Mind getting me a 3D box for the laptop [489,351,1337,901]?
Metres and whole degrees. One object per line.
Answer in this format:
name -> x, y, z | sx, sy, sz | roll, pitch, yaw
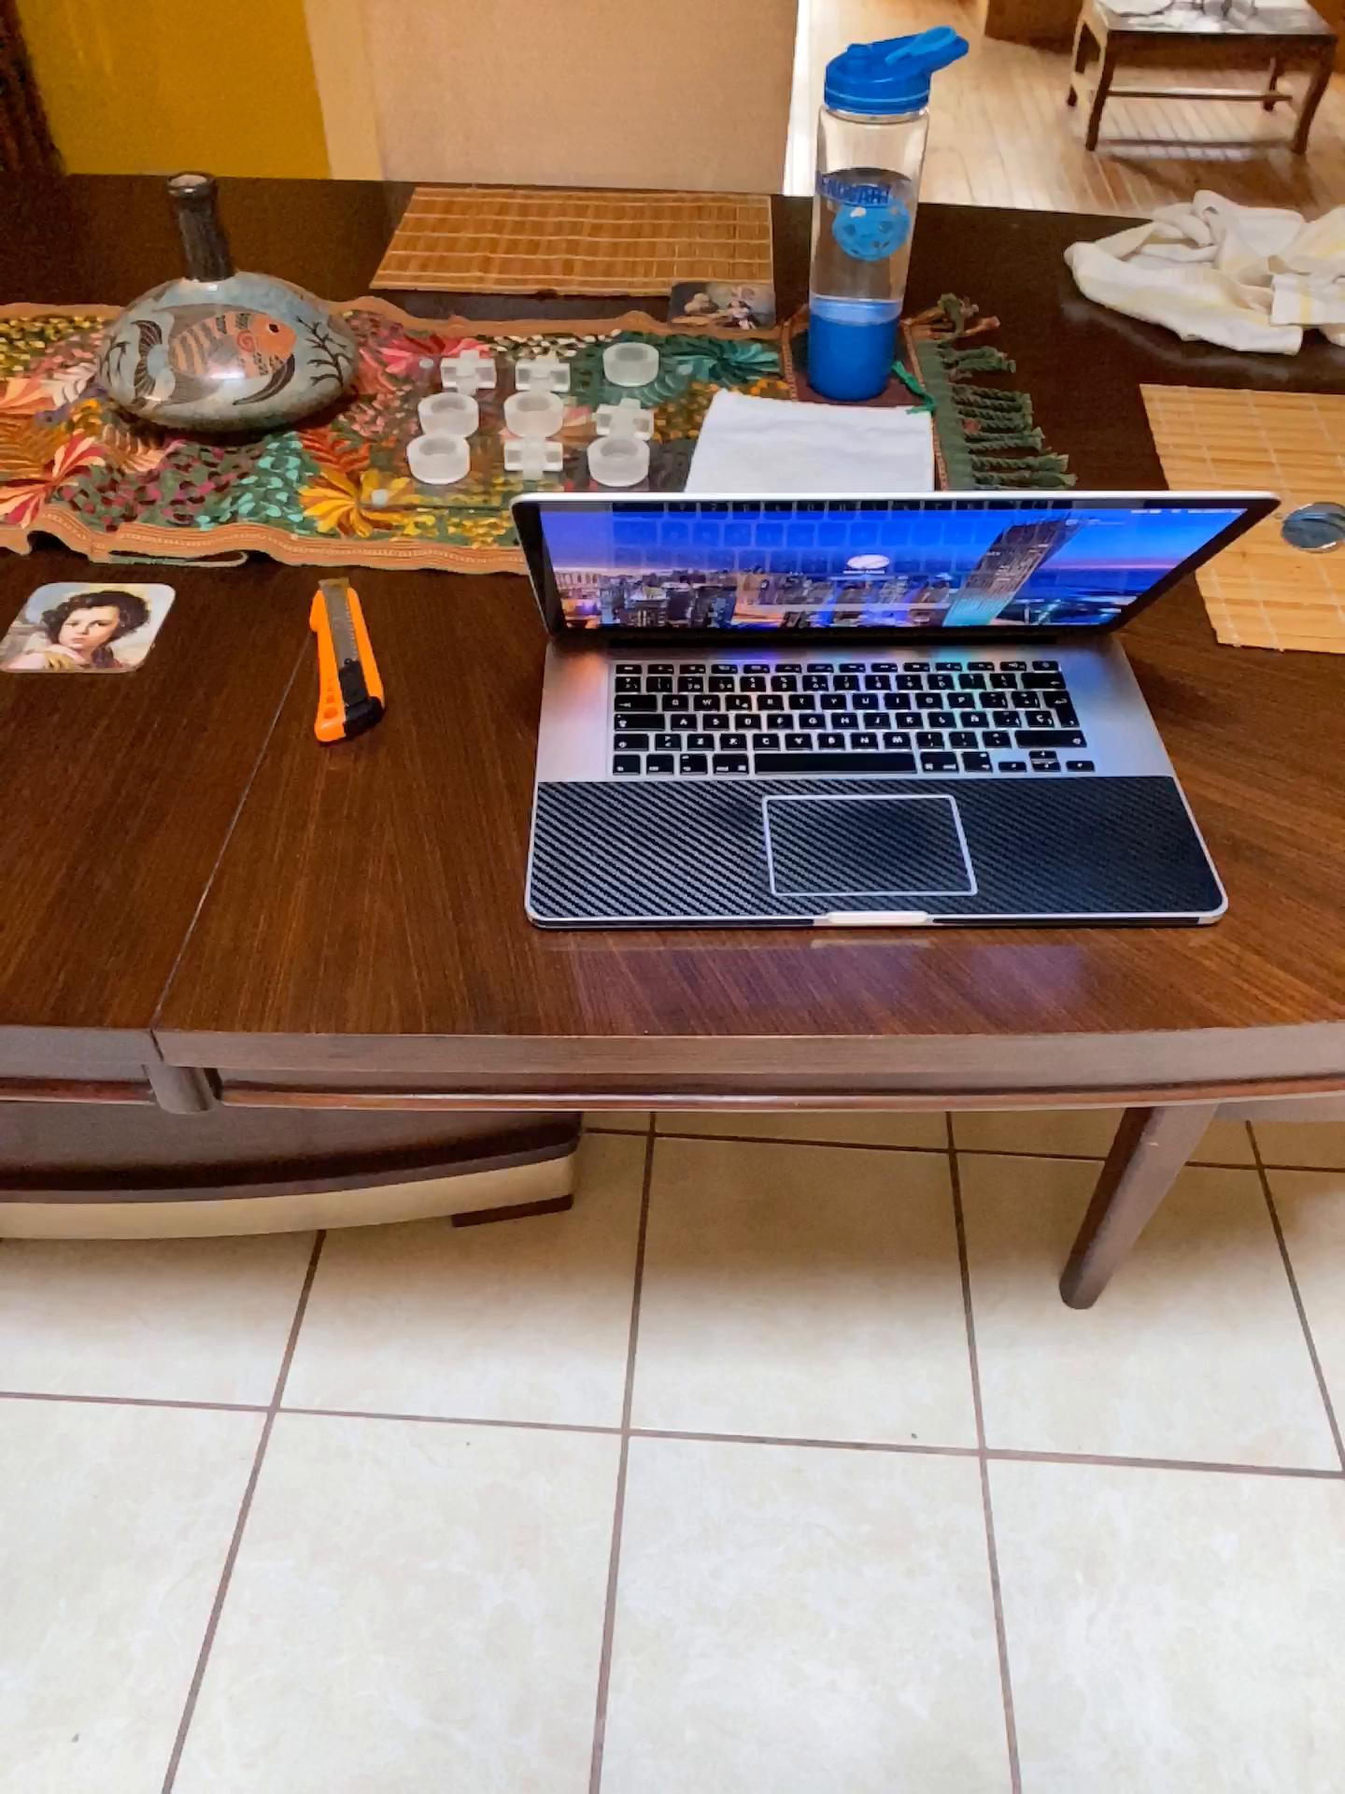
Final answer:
laptop -> 0.099, -0.147, 0.718 | 0.354, 0.181, 0.237 | 0, 45, -1
